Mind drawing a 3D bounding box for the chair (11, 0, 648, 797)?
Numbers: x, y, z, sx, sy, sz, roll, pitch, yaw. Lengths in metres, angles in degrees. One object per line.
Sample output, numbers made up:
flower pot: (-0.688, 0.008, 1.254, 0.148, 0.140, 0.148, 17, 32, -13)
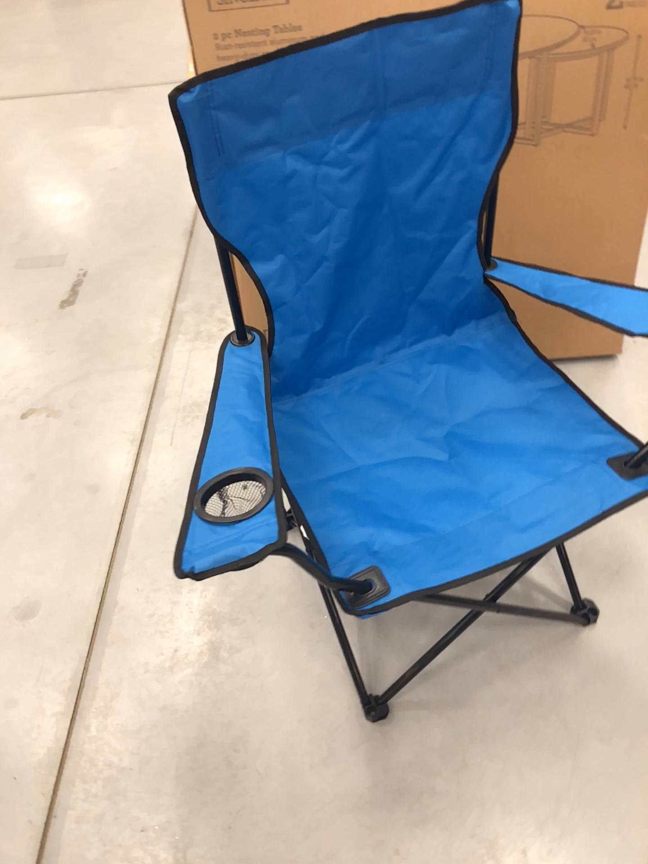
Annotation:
chair: (0.136, -0.052, 1.070, 0.790, 0.837, 0.622, -21, 50, -11)
